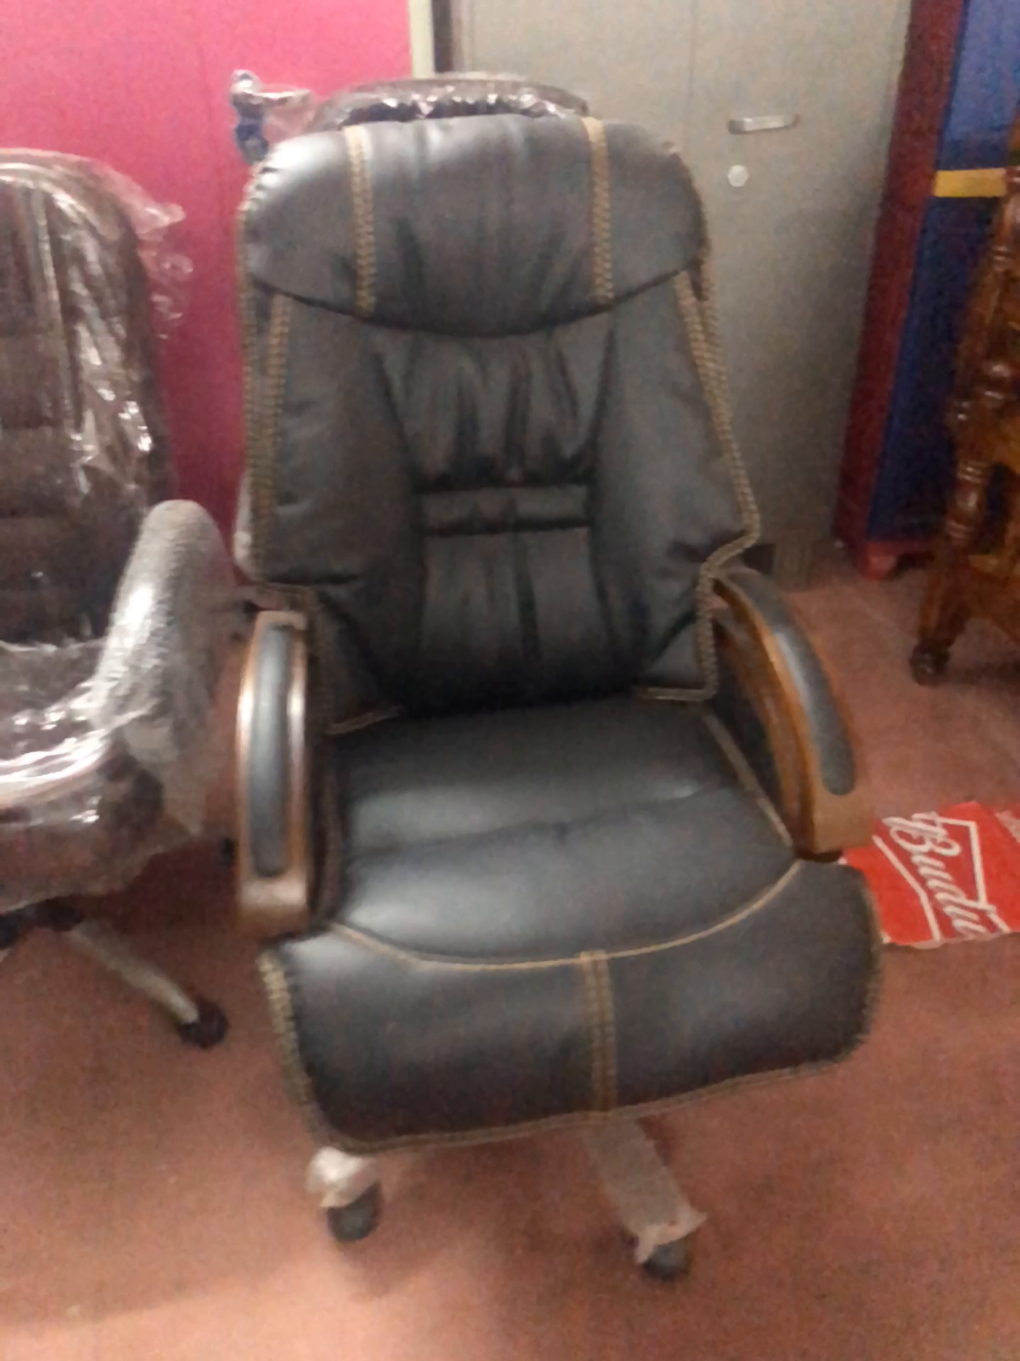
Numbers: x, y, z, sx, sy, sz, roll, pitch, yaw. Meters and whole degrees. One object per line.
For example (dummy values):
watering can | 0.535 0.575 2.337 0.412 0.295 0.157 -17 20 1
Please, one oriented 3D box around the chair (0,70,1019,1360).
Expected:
chair | 0.002 -0.011 1.139 0.700 0.995 0.794 -6 34 -7
